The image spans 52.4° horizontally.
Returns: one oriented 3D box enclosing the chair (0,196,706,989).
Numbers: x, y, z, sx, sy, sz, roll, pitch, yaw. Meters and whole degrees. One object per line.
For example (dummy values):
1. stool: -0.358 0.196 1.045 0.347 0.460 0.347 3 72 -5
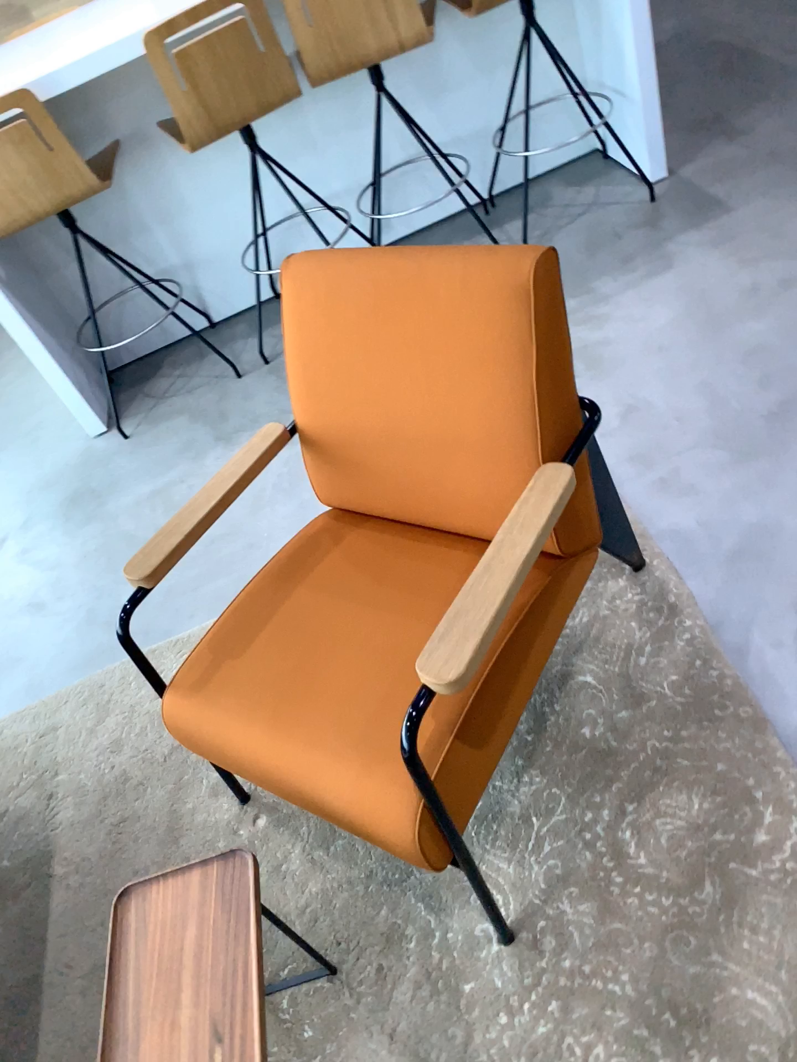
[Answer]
1. chair: -0.031 0.037 1.342 0.733 0.734 0.863 13 54 35
